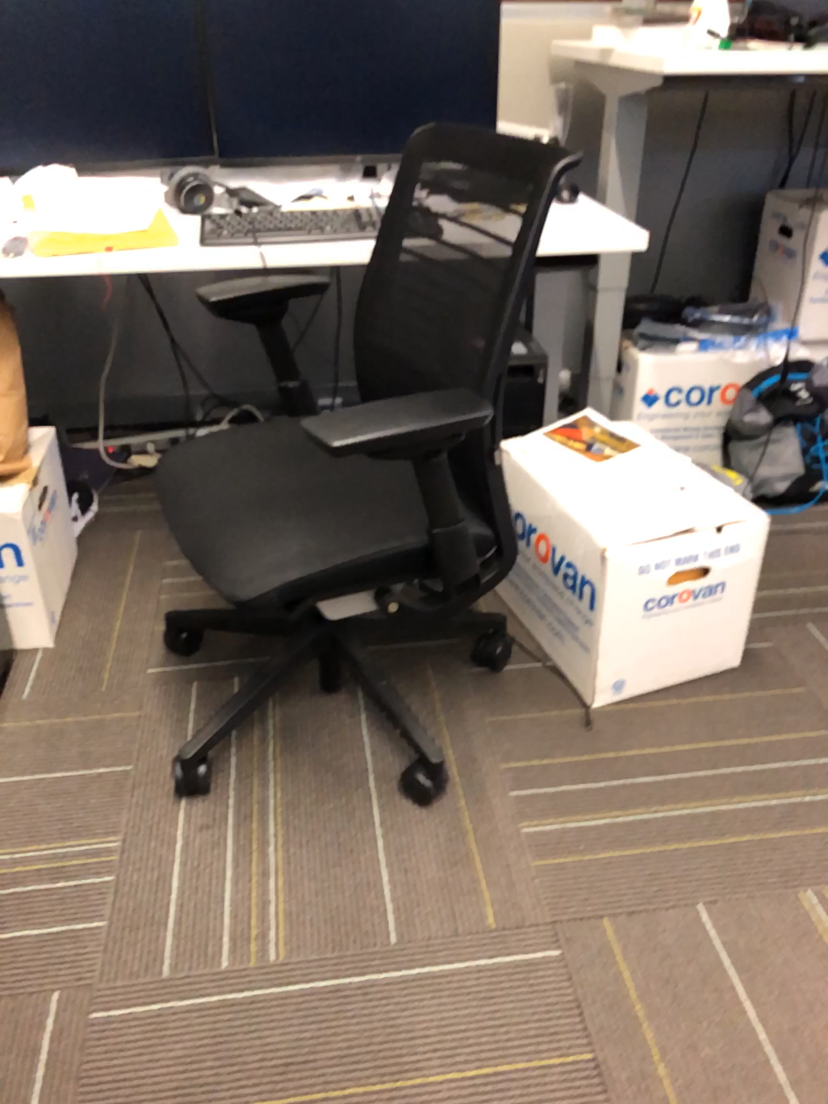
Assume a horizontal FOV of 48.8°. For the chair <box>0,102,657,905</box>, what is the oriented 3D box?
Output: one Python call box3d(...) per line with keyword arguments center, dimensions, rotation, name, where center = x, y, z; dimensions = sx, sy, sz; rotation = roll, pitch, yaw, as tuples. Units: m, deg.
box3d(center=(-0.183, -0.162, 1.547), dimensions=(0.701, 0.994, 0.783), rotation=(-15, 33, -22), name="chair")
